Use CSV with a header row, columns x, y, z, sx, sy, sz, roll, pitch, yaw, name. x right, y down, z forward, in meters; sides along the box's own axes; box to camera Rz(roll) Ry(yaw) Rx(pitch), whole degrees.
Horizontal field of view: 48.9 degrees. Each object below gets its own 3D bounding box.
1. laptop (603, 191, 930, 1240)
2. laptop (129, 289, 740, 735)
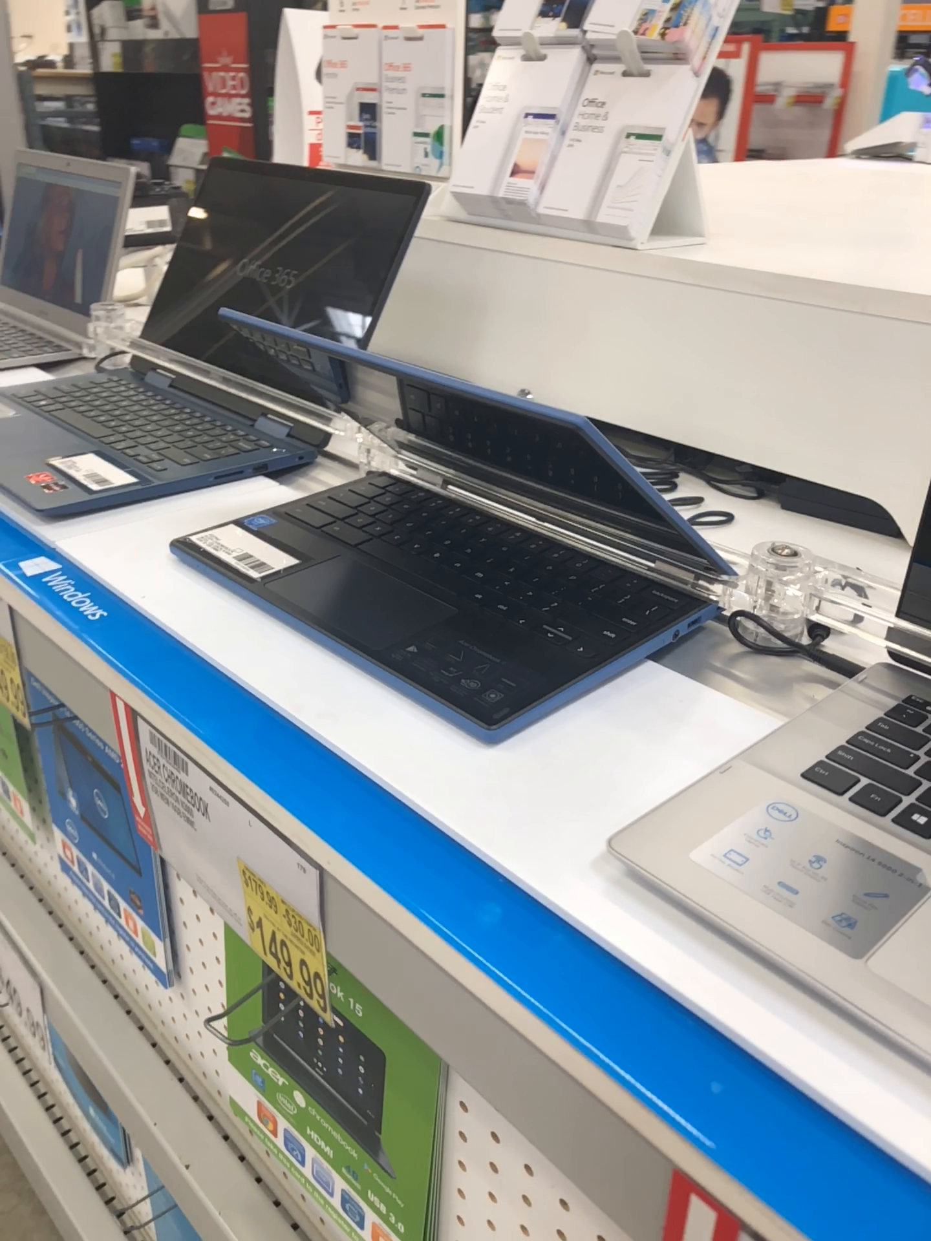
x,y,z,sx,sy,sz,roll,pitch,yaw,name
0.261,0.019,0.292,0.246,0.216,0.356,-23,36,-36,laptop
-0.027,-0.086,0.576,0.184,0.128,0.280,-25,38,-38,laptop
